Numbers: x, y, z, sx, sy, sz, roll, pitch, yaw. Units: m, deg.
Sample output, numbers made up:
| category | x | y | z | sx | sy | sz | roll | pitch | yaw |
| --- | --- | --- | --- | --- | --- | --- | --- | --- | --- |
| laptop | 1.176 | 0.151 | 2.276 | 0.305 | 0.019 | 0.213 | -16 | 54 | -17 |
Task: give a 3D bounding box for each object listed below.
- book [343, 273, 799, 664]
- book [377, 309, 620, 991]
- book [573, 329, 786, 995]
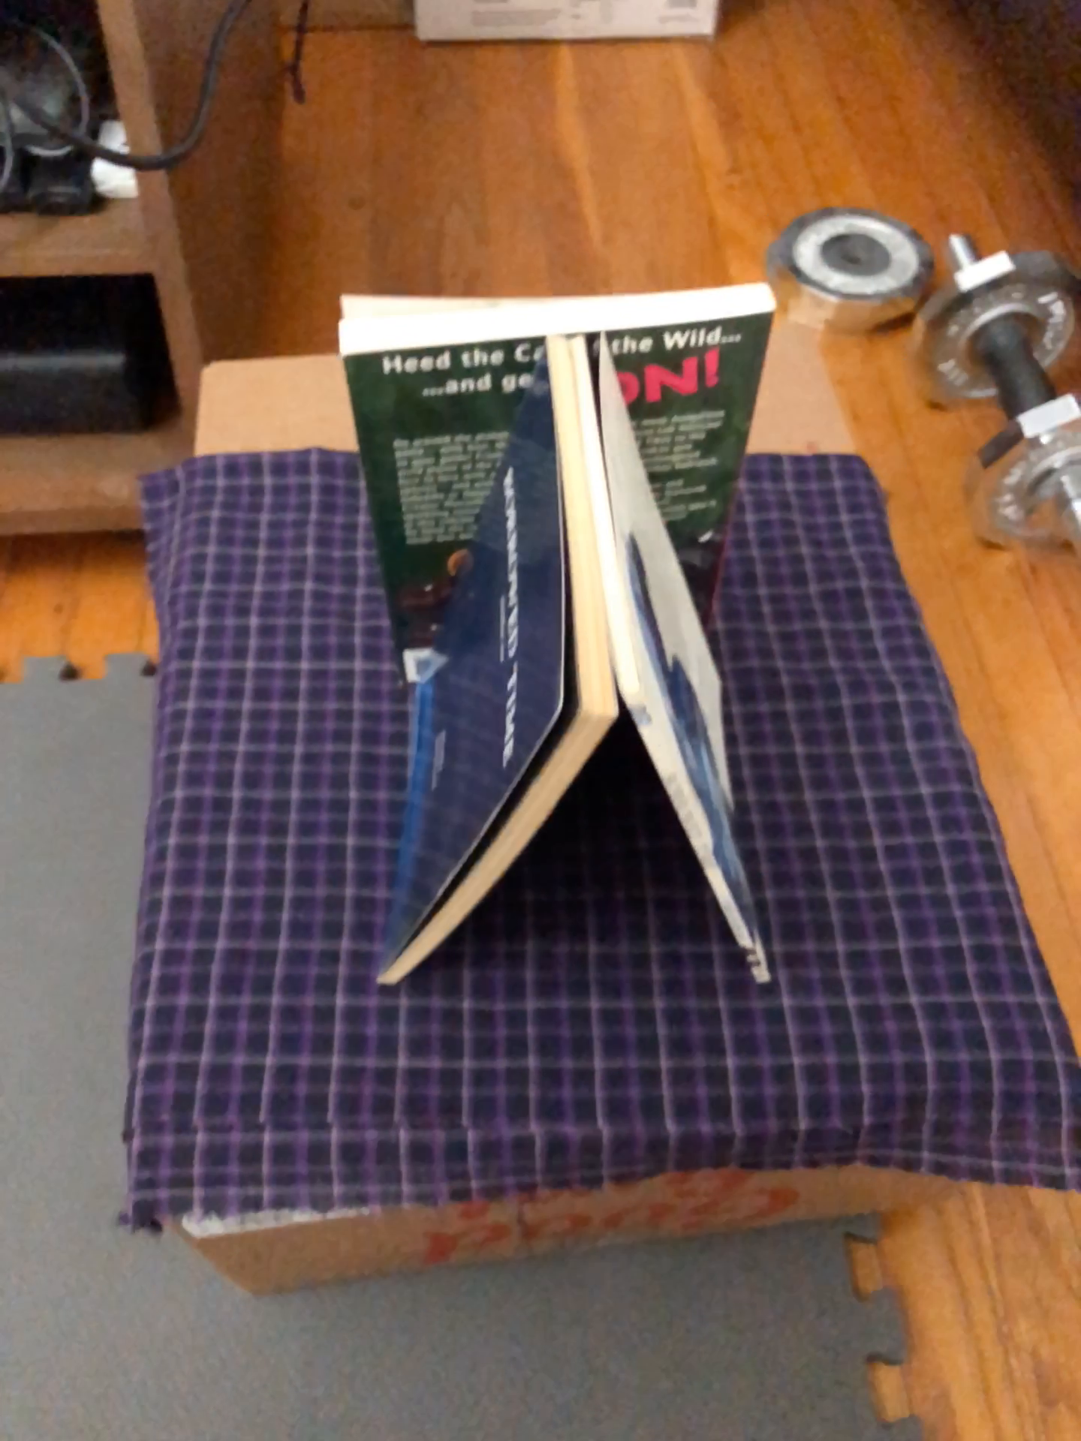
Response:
| category | x | y | z | sx | sy | sz | roll | pitch | yaw |
| --- | --- | --- | --- | --- | --- | --- | --- | --- | --- |
| book | 0.007 | -0.083 | 0.455 | 0.140 | 0.189 | 0.020 | -4 | 62 | -4 |
| book | -0.022 | -0.014 | 0.415 | 0.010 | 0.199 | 0.151 | 11 | 54 | -18 |
| book | 0.050 | -0.009 | 0.409 | 0.010 | 0.199 | 0.141 | -14 | 53 | 12 |
